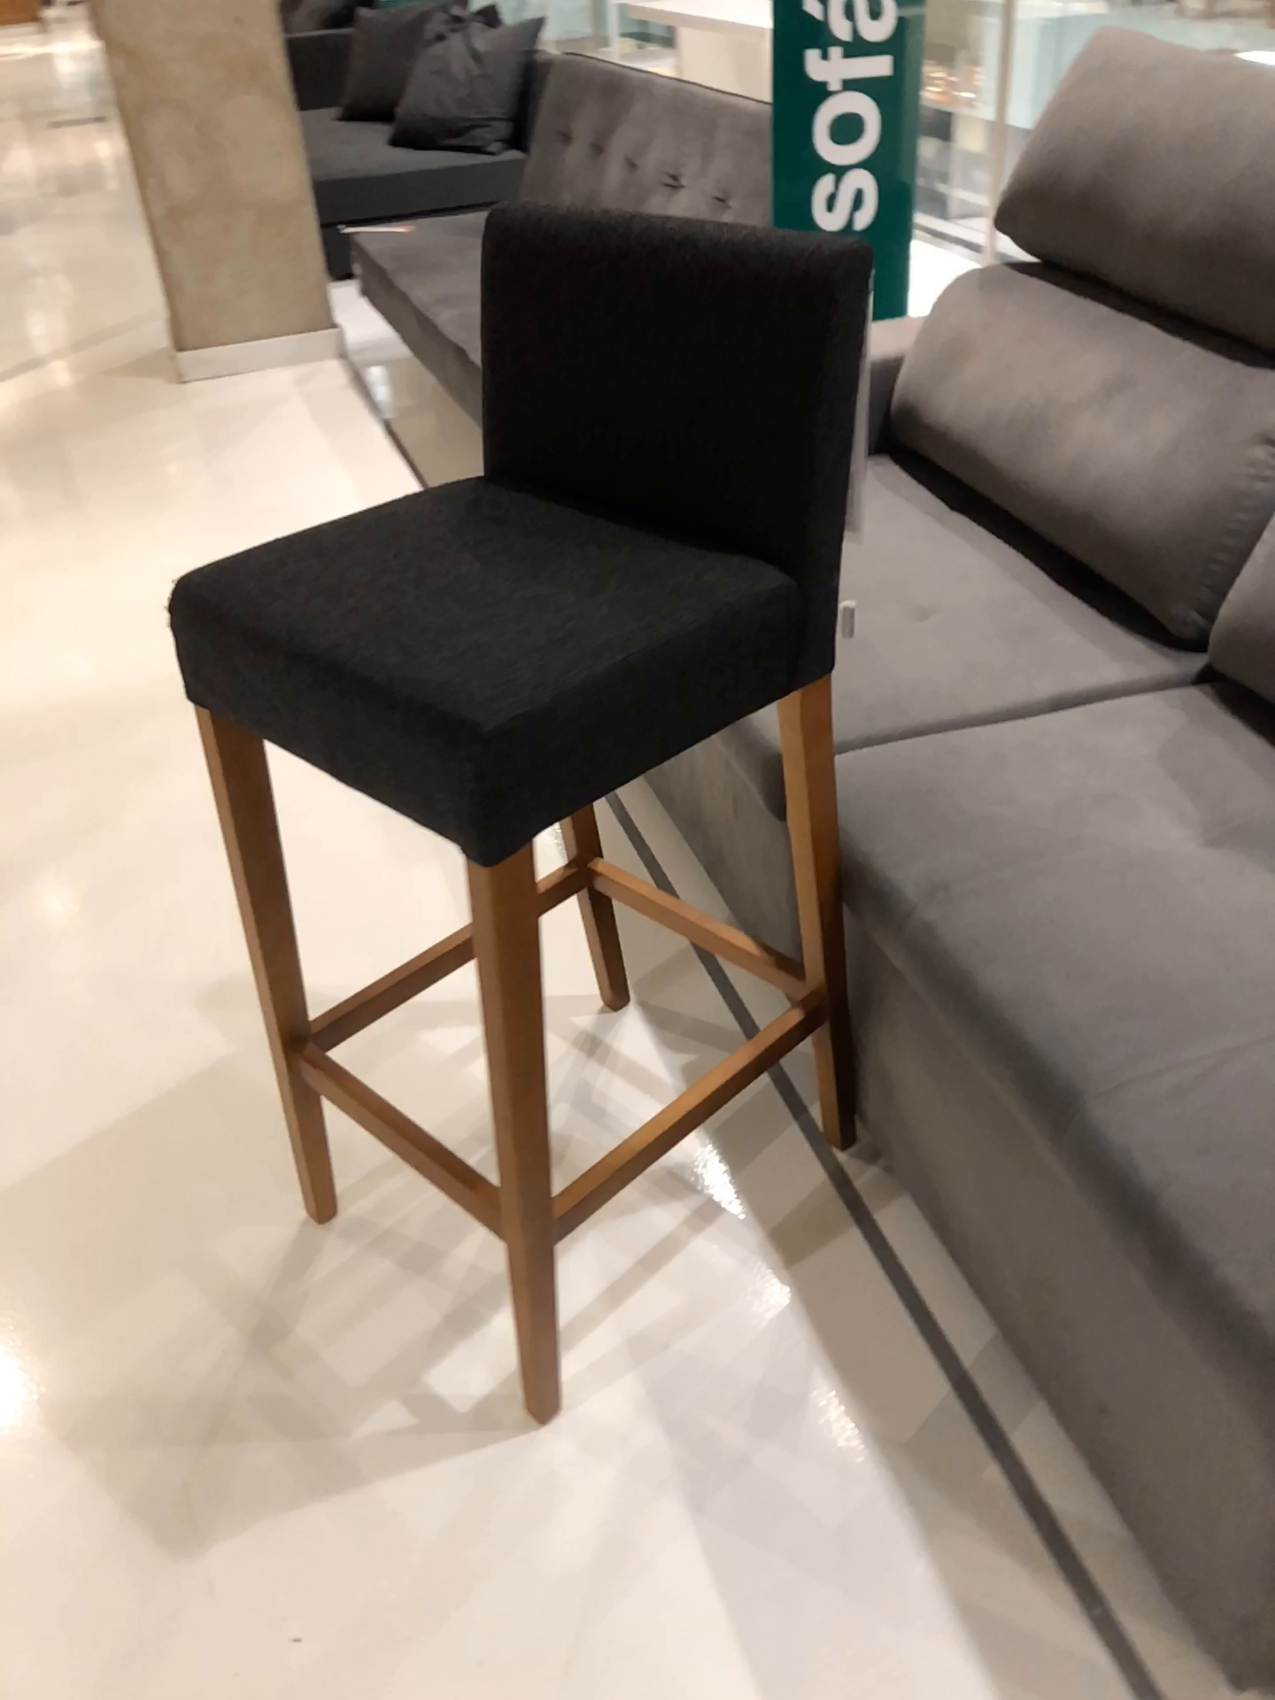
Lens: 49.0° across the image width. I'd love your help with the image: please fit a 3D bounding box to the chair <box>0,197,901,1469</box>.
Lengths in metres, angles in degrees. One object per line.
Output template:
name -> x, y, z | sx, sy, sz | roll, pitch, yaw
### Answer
chair -> -0.122, -0.040, 1.343 | 0.452, 0.972, 0.582 | 25, 43, 38
